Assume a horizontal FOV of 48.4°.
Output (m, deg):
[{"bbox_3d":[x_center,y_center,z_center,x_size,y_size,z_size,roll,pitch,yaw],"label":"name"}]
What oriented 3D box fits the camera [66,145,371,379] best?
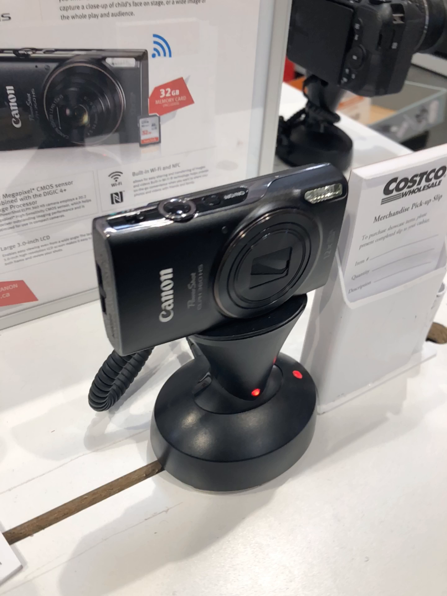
[{"bbox_3d":[0.001,-0.017,0.199,0.110,0.060,0.030,-19,45,-24],"label":"camera"}]
